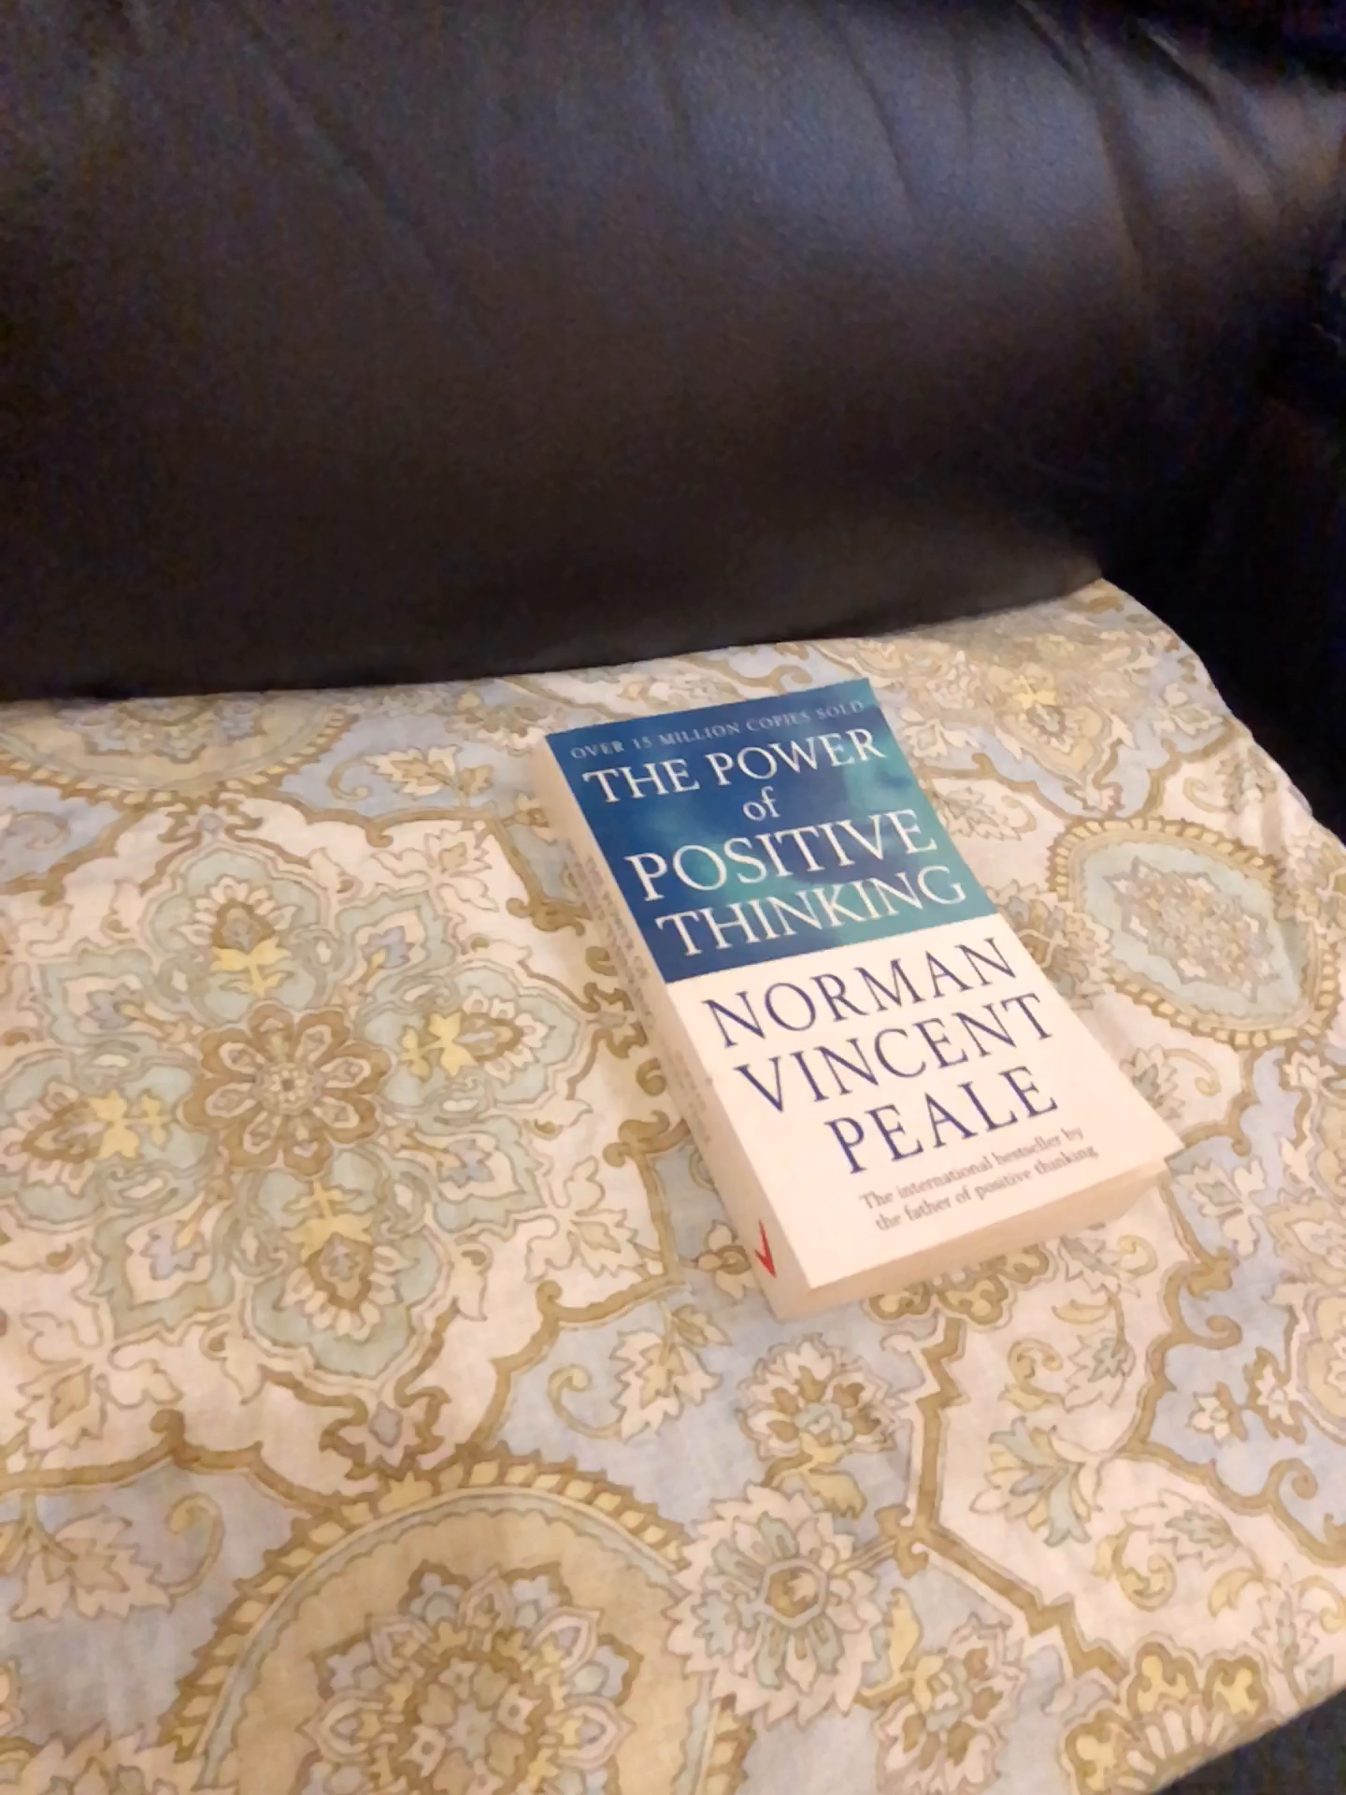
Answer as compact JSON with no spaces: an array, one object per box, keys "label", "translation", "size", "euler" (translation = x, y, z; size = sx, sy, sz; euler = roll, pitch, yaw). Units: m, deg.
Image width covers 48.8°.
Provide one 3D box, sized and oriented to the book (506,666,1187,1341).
[{"label":"book","translation":[0.043,0.017,0.421],"size":[0.120,0.030,0.183],"euler":[-12,58,-27]}]
